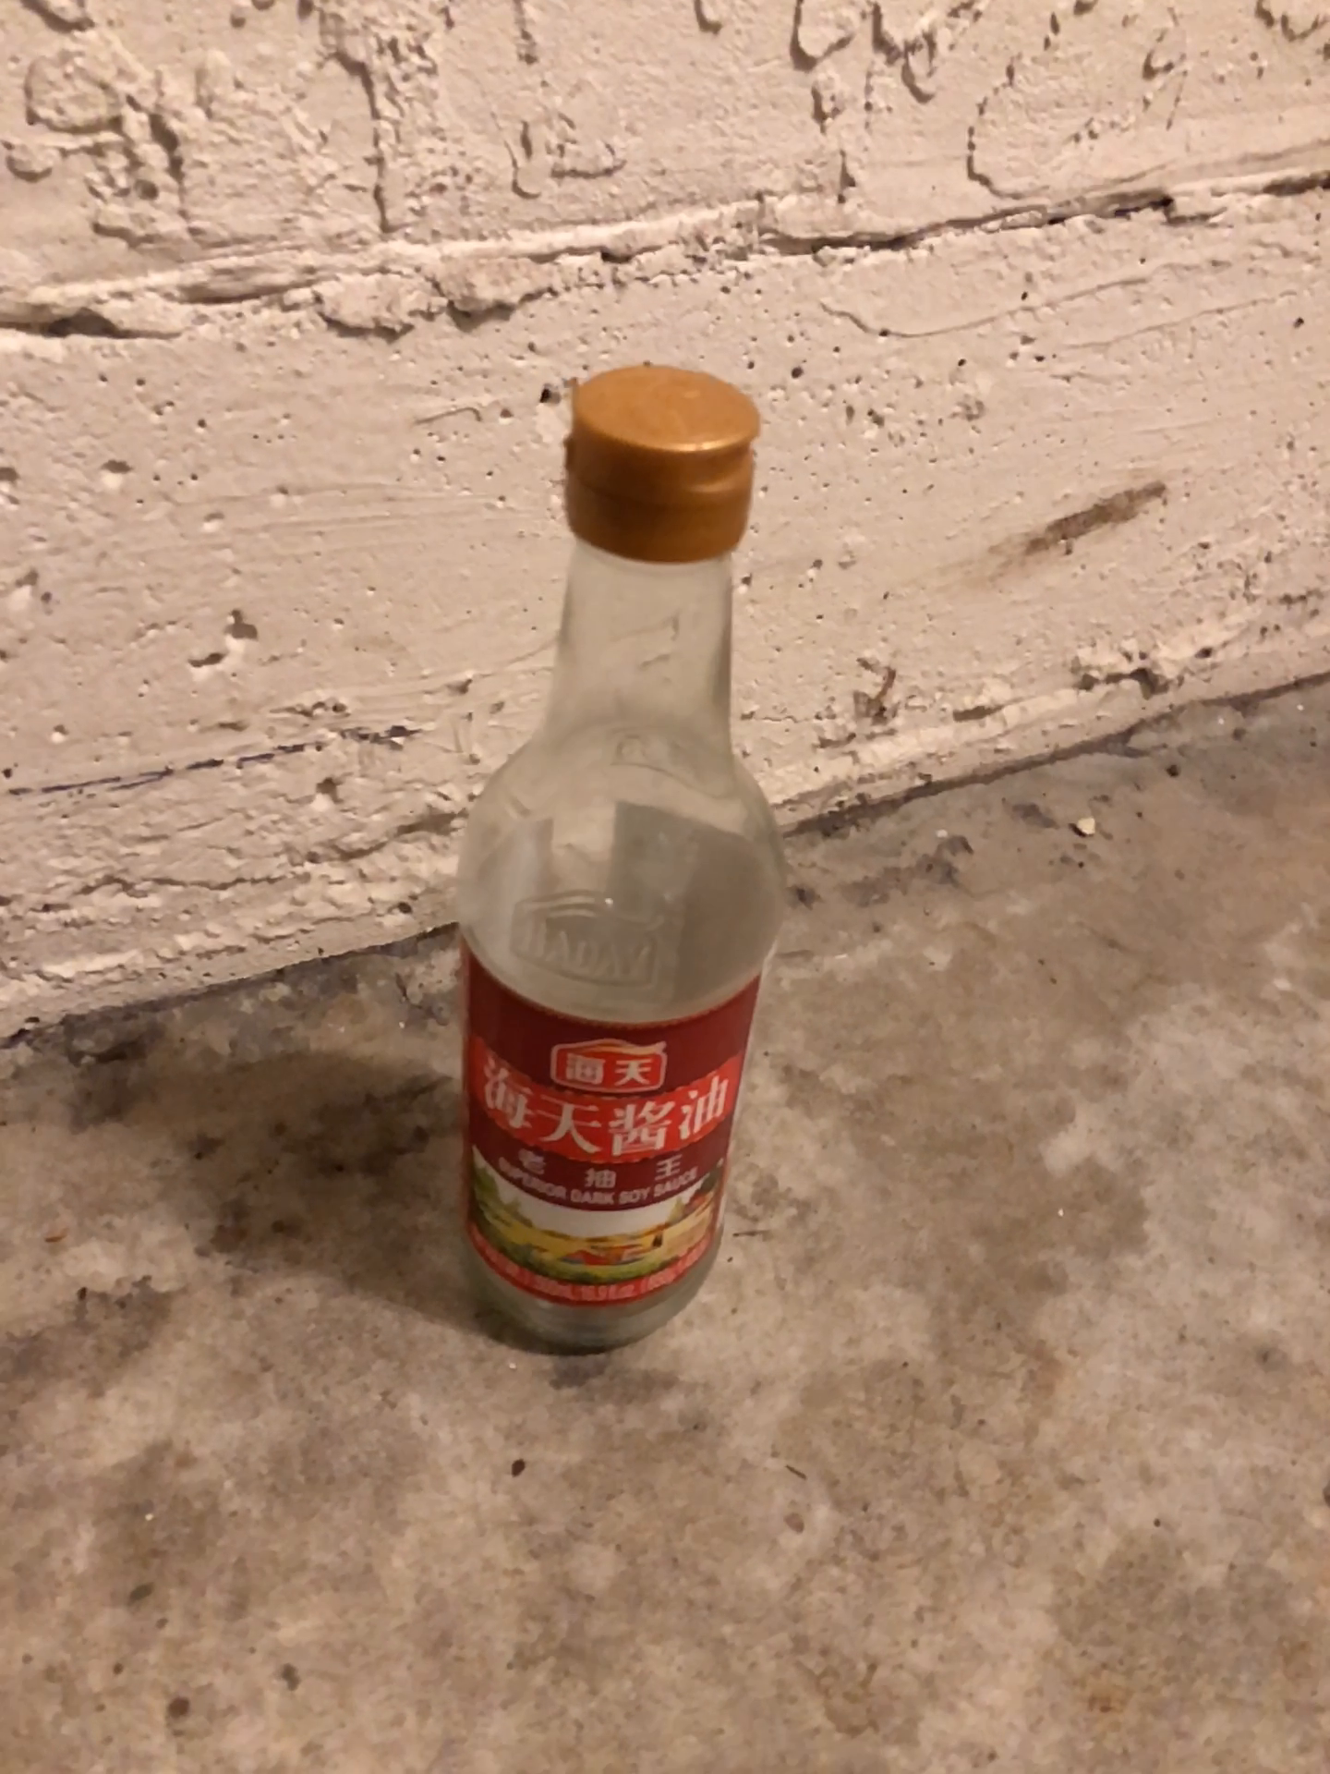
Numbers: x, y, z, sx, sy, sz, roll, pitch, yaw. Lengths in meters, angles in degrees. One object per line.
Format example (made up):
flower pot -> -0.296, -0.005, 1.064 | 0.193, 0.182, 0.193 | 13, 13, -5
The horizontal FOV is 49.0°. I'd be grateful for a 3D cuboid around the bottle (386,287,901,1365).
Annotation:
bottle -> -0.009, 0.007, 0.301 | 0.070, 0.228, 0.070 | 3, 43, -2
